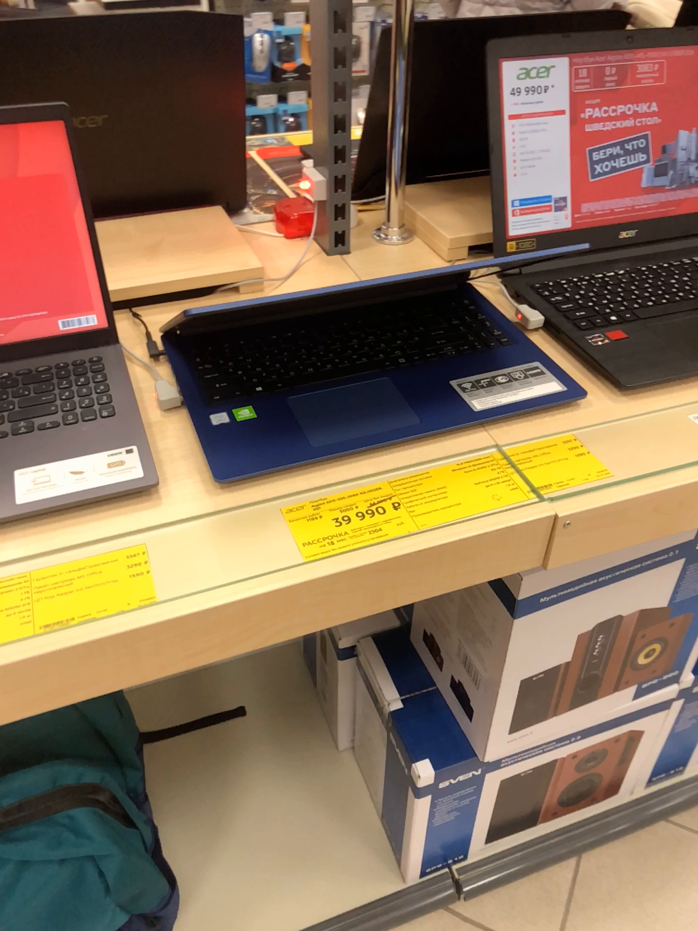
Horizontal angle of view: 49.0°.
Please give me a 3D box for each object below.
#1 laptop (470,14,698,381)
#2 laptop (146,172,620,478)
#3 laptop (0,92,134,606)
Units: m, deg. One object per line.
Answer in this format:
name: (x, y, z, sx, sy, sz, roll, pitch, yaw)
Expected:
laptop: (0.380, -0.320, 0.845, 0.358, 0.226, 0.355, -12, 41, -13)
laptop: (0.018, -0.154, 0.736, 0.367, 0.126, 0.246, -13, 41, -15)
laptop: (-0.406, -0.126, 0.613, 0.390, 0.206, 0.303, -12, 43, -16)
